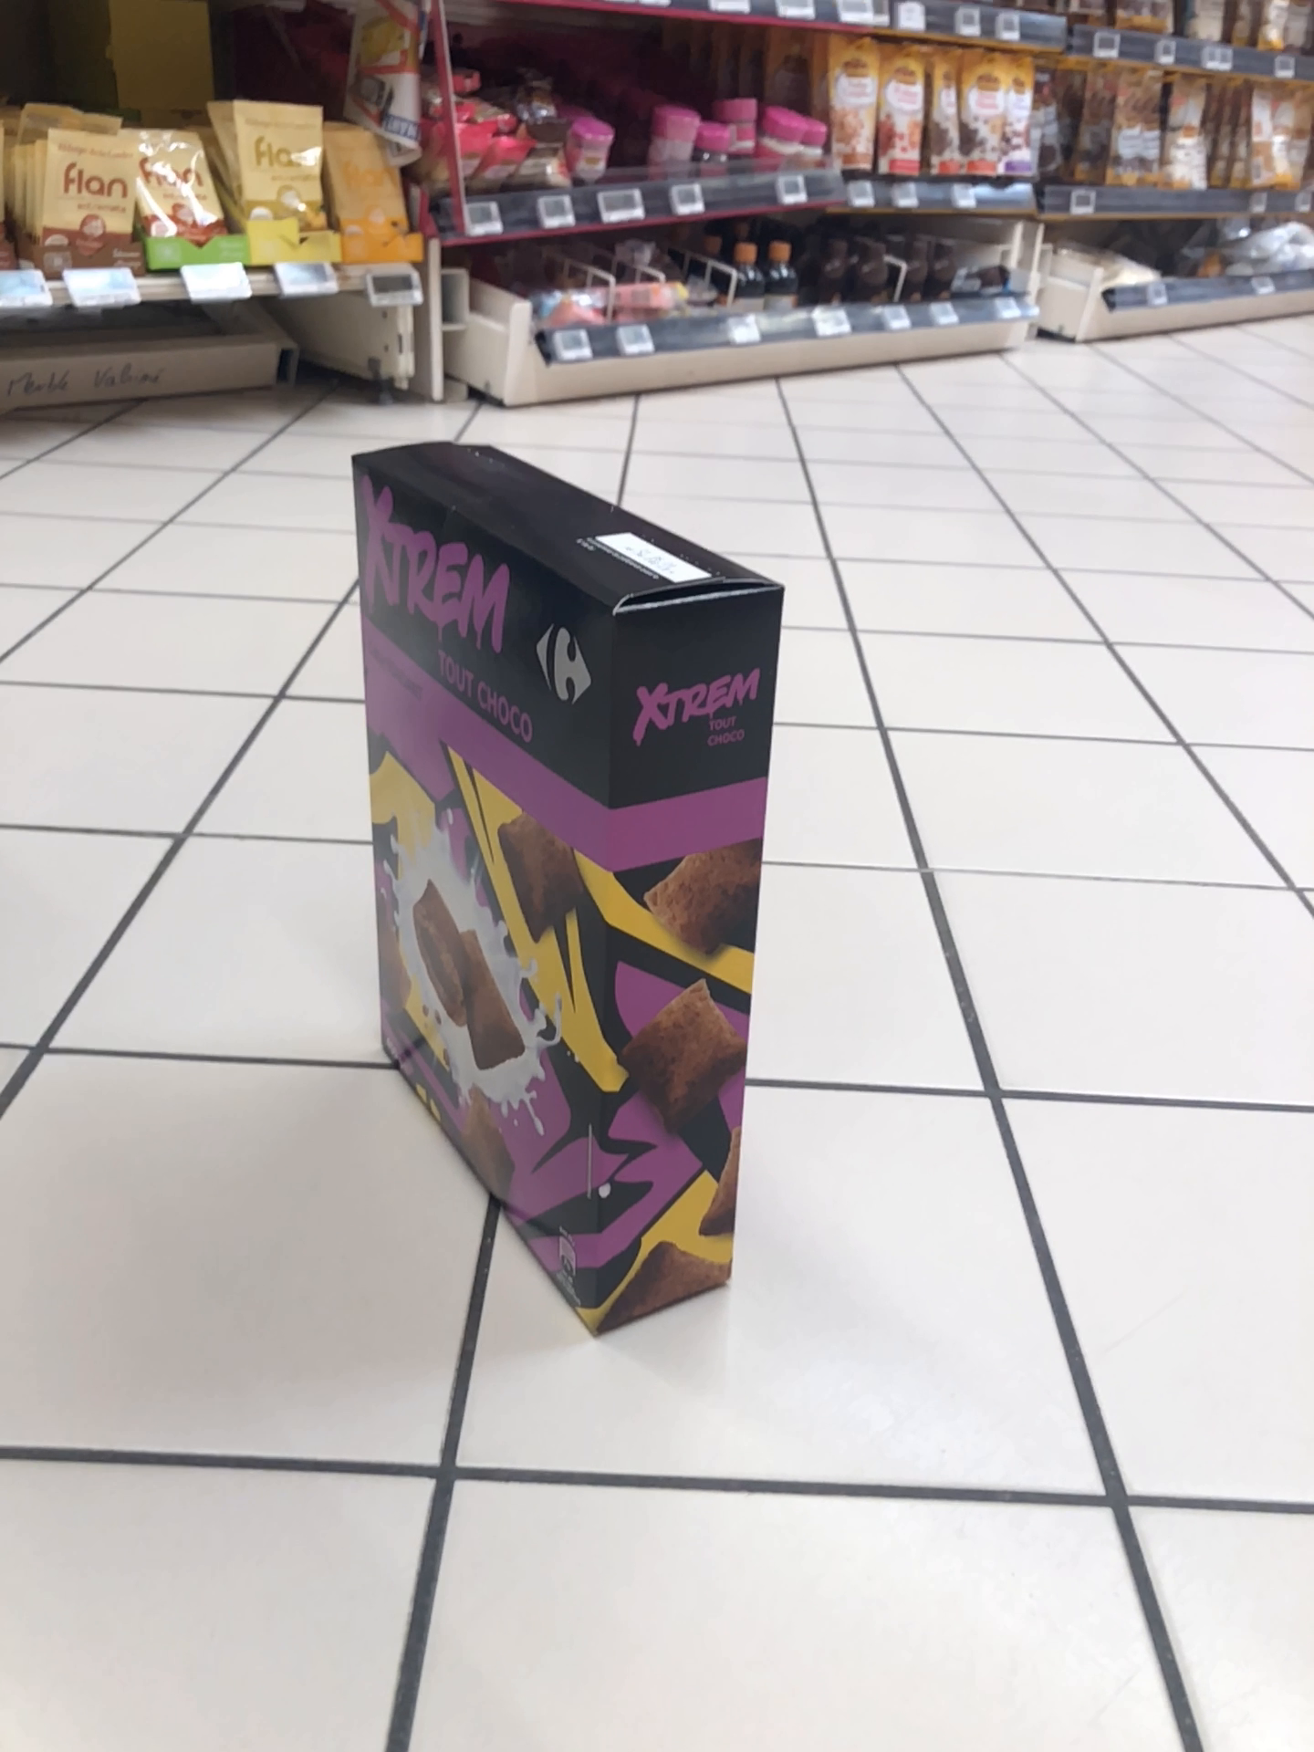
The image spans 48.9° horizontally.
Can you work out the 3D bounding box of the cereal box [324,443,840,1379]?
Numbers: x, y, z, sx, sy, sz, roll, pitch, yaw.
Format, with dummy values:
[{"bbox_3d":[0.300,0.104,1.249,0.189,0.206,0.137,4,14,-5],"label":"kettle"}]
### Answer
[{"bbox_3d":[-0.039,-0.001,0.483,0.070,0.239,0.200,-12,31,-27],"label":"cereal box"}]
